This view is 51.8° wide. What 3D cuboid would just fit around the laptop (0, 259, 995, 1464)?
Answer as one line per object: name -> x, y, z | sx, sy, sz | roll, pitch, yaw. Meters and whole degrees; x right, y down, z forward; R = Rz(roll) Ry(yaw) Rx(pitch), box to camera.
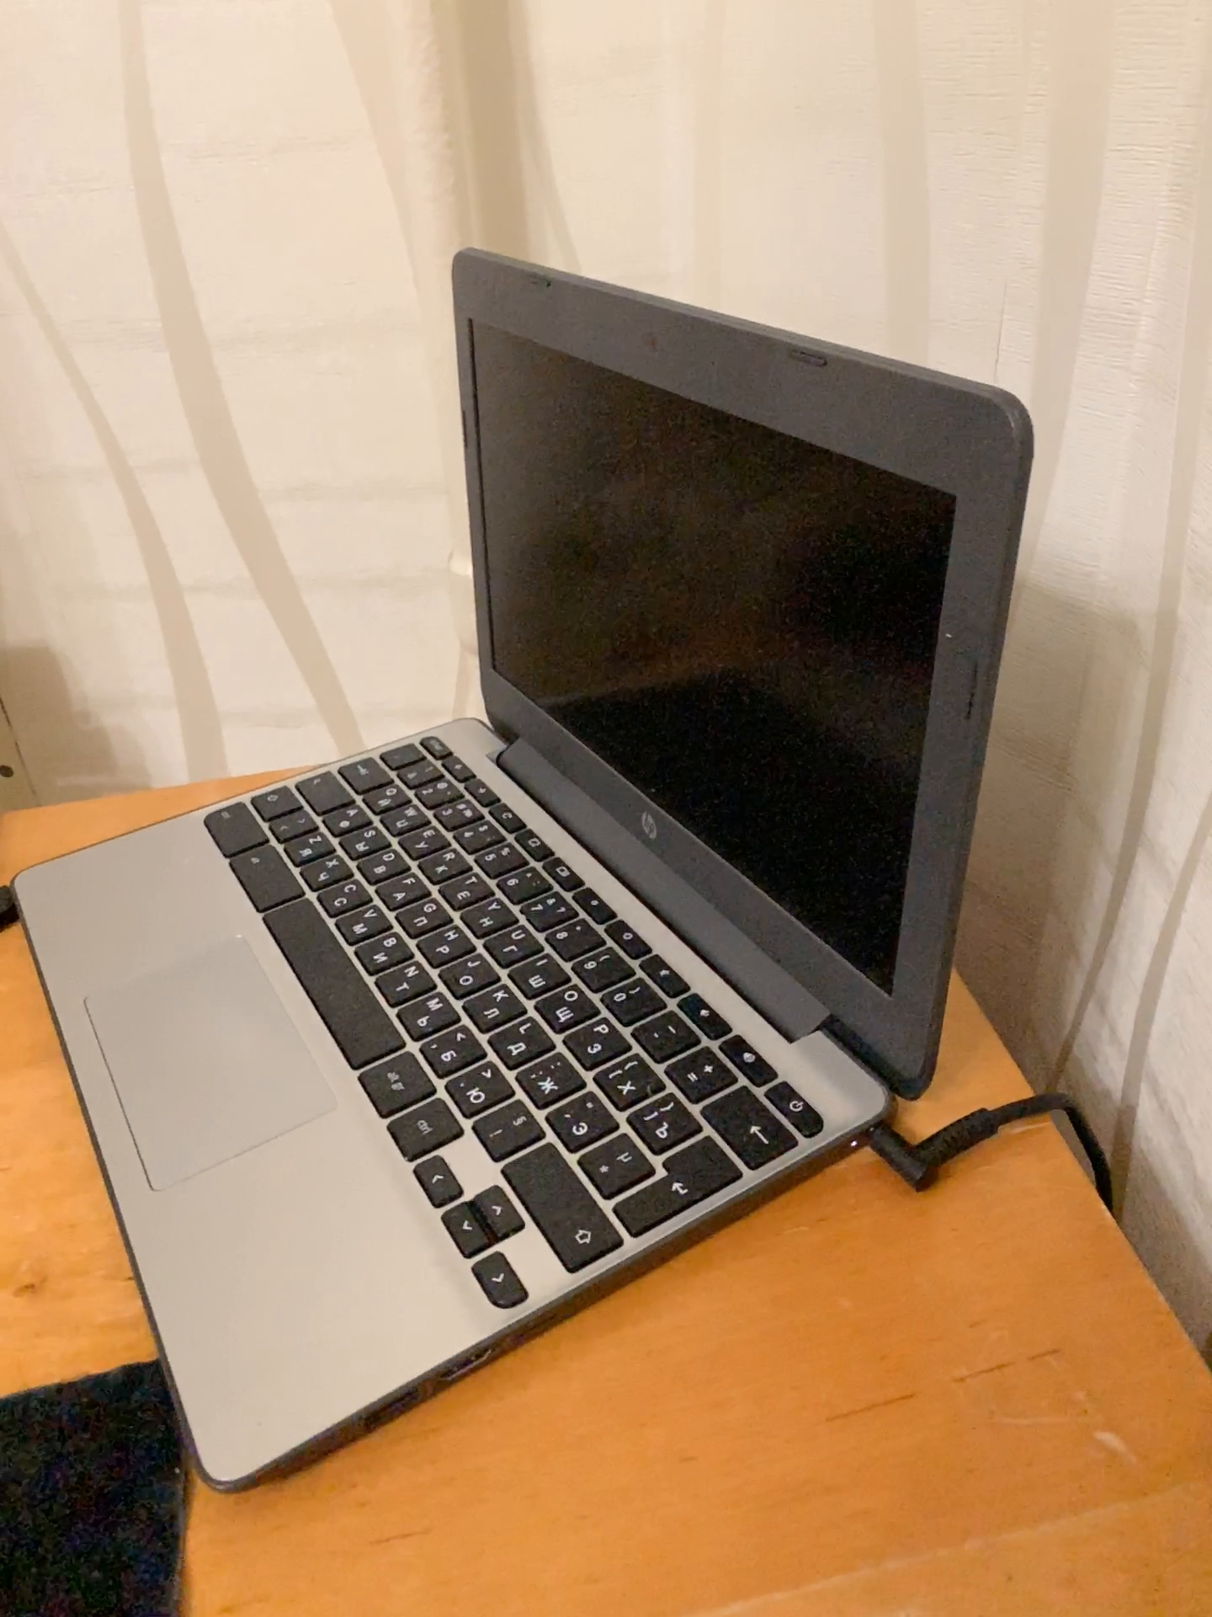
laptop -> -0.073, -0.027, 0.366 | 0.206, 0.187, 0.272 | -21, 37, -23
